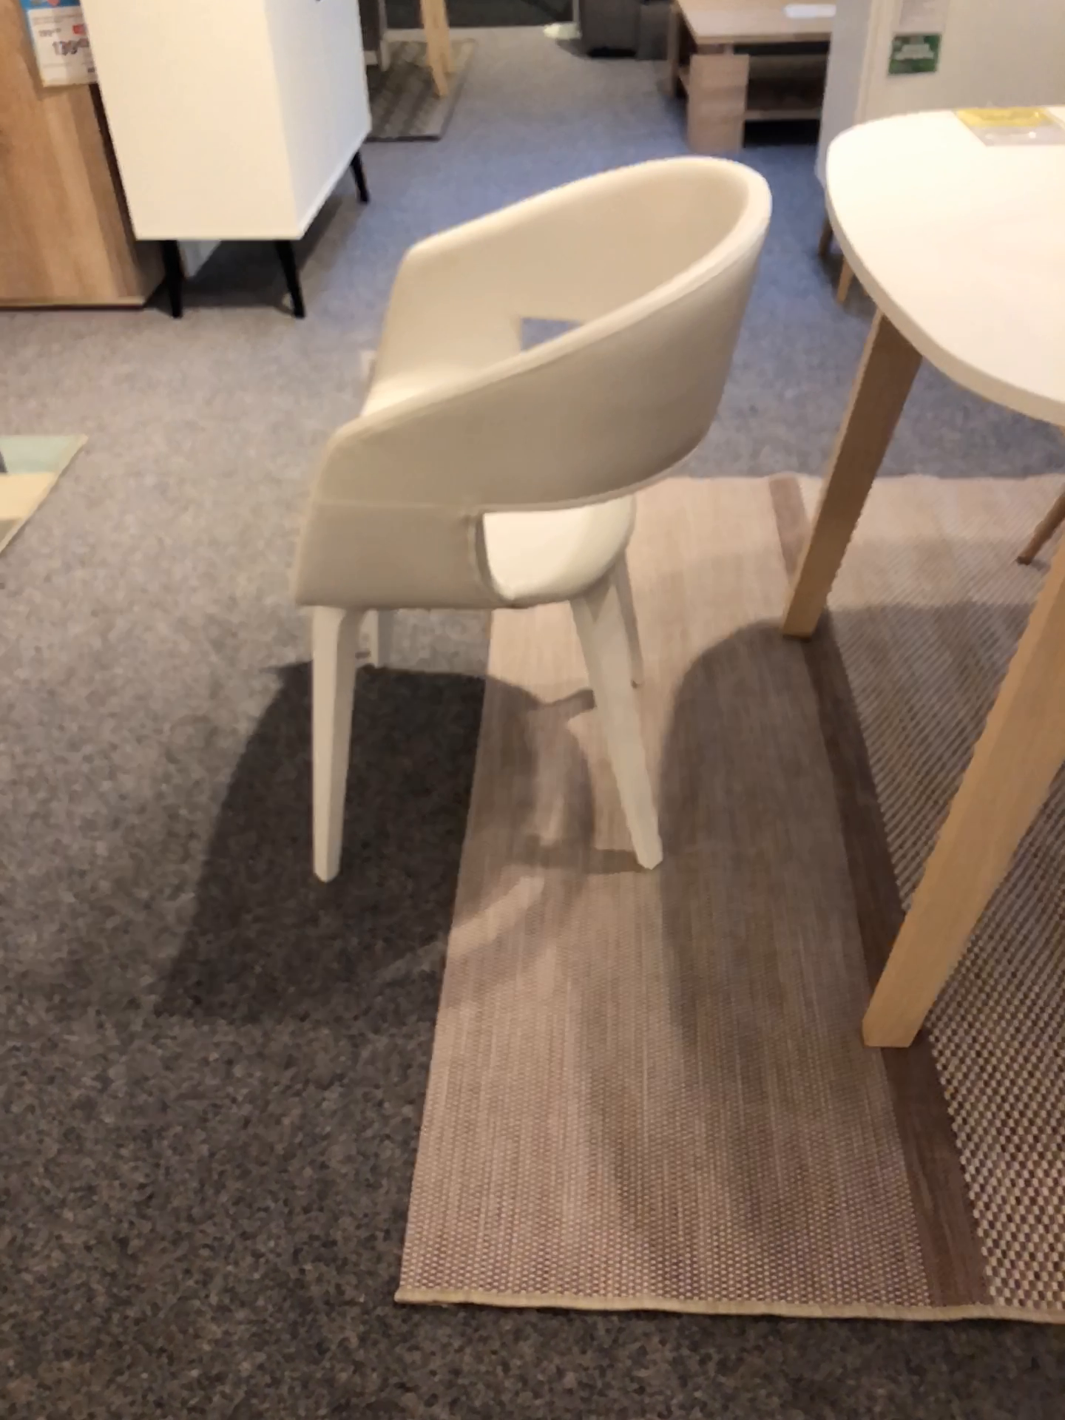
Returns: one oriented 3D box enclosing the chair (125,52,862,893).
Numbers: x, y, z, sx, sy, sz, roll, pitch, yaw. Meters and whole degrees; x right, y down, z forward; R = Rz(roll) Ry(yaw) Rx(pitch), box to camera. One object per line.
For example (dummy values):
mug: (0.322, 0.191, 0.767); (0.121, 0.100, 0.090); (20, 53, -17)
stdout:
chair: (-0.008, -0.260, 1.347); (0.560, 0.756, 0.553); (1, 41, 3)
